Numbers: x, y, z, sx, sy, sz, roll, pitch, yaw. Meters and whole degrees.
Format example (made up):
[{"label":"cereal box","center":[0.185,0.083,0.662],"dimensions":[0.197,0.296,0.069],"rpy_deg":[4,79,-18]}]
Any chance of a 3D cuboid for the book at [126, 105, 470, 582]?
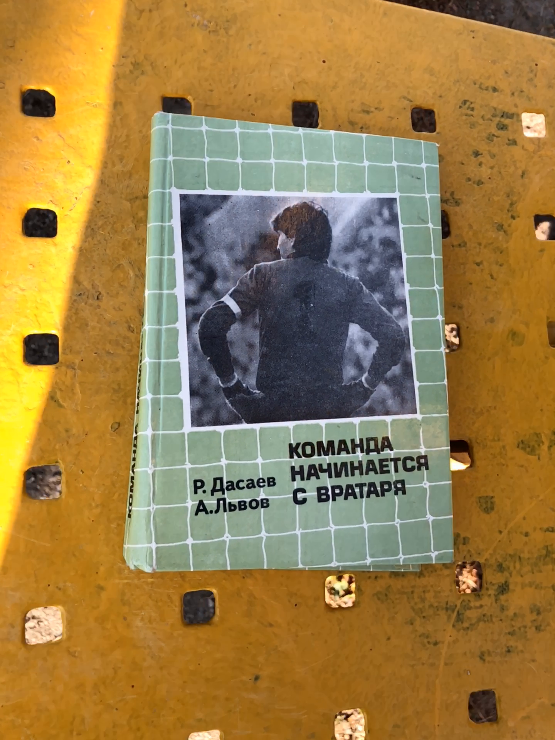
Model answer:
[{"label":"book","center":[0.008,-0.010,0.234],"dimensions":[0.117,0.030,0.164],"rpy_deg":[2,81,-10]}]
